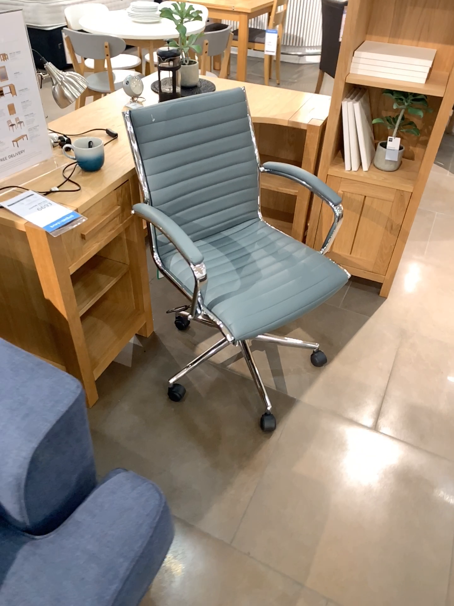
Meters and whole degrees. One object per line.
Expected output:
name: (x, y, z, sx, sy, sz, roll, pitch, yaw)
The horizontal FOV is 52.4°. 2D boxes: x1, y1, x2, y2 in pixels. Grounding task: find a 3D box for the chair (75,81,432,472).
chair: (0.038, -0.126, 1.529, 0.666, 0.883, 0.711, -25, 47, -29)
